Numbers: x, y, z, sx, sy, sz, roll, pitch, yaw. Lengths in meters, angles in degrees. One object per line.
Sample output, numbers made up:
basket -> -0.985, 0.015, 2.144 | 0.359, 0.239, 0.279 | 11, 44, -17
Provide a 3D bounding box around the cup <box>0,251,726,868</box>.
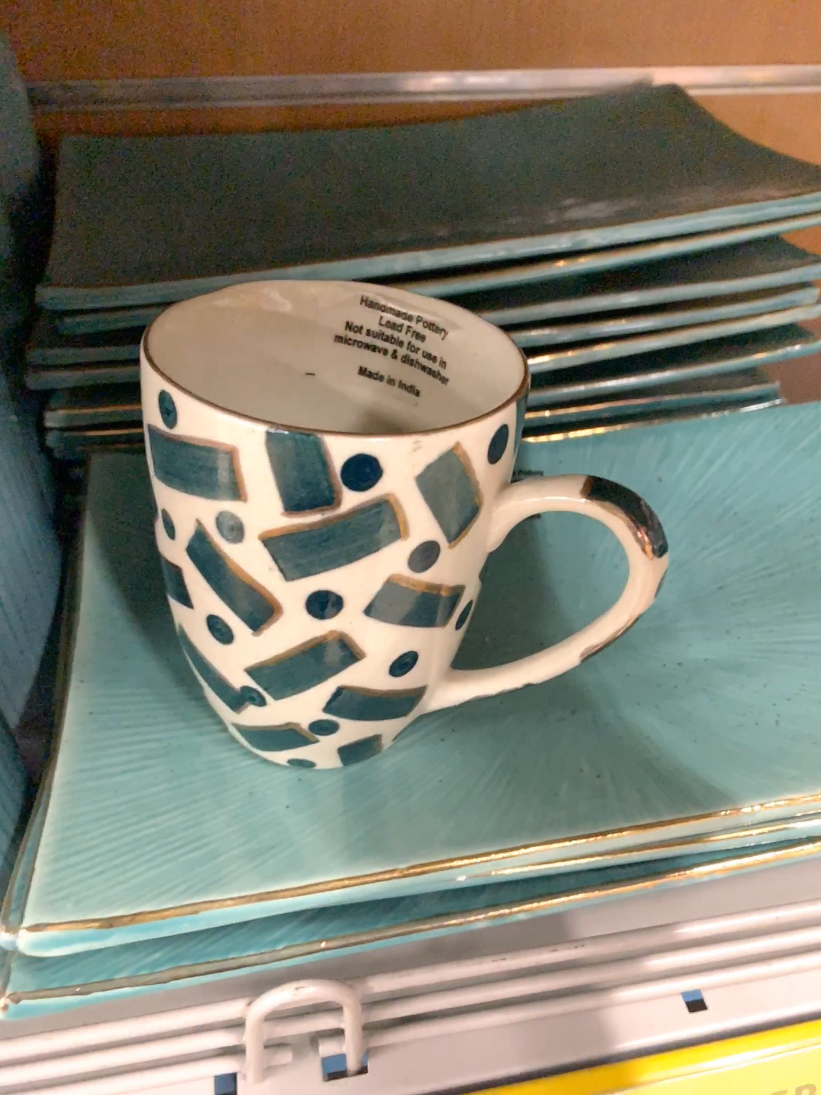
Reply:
cup -> -0.010, -0.002, 0.177 | 0.110, 0.080, 0.080 | 9, 34, 2
